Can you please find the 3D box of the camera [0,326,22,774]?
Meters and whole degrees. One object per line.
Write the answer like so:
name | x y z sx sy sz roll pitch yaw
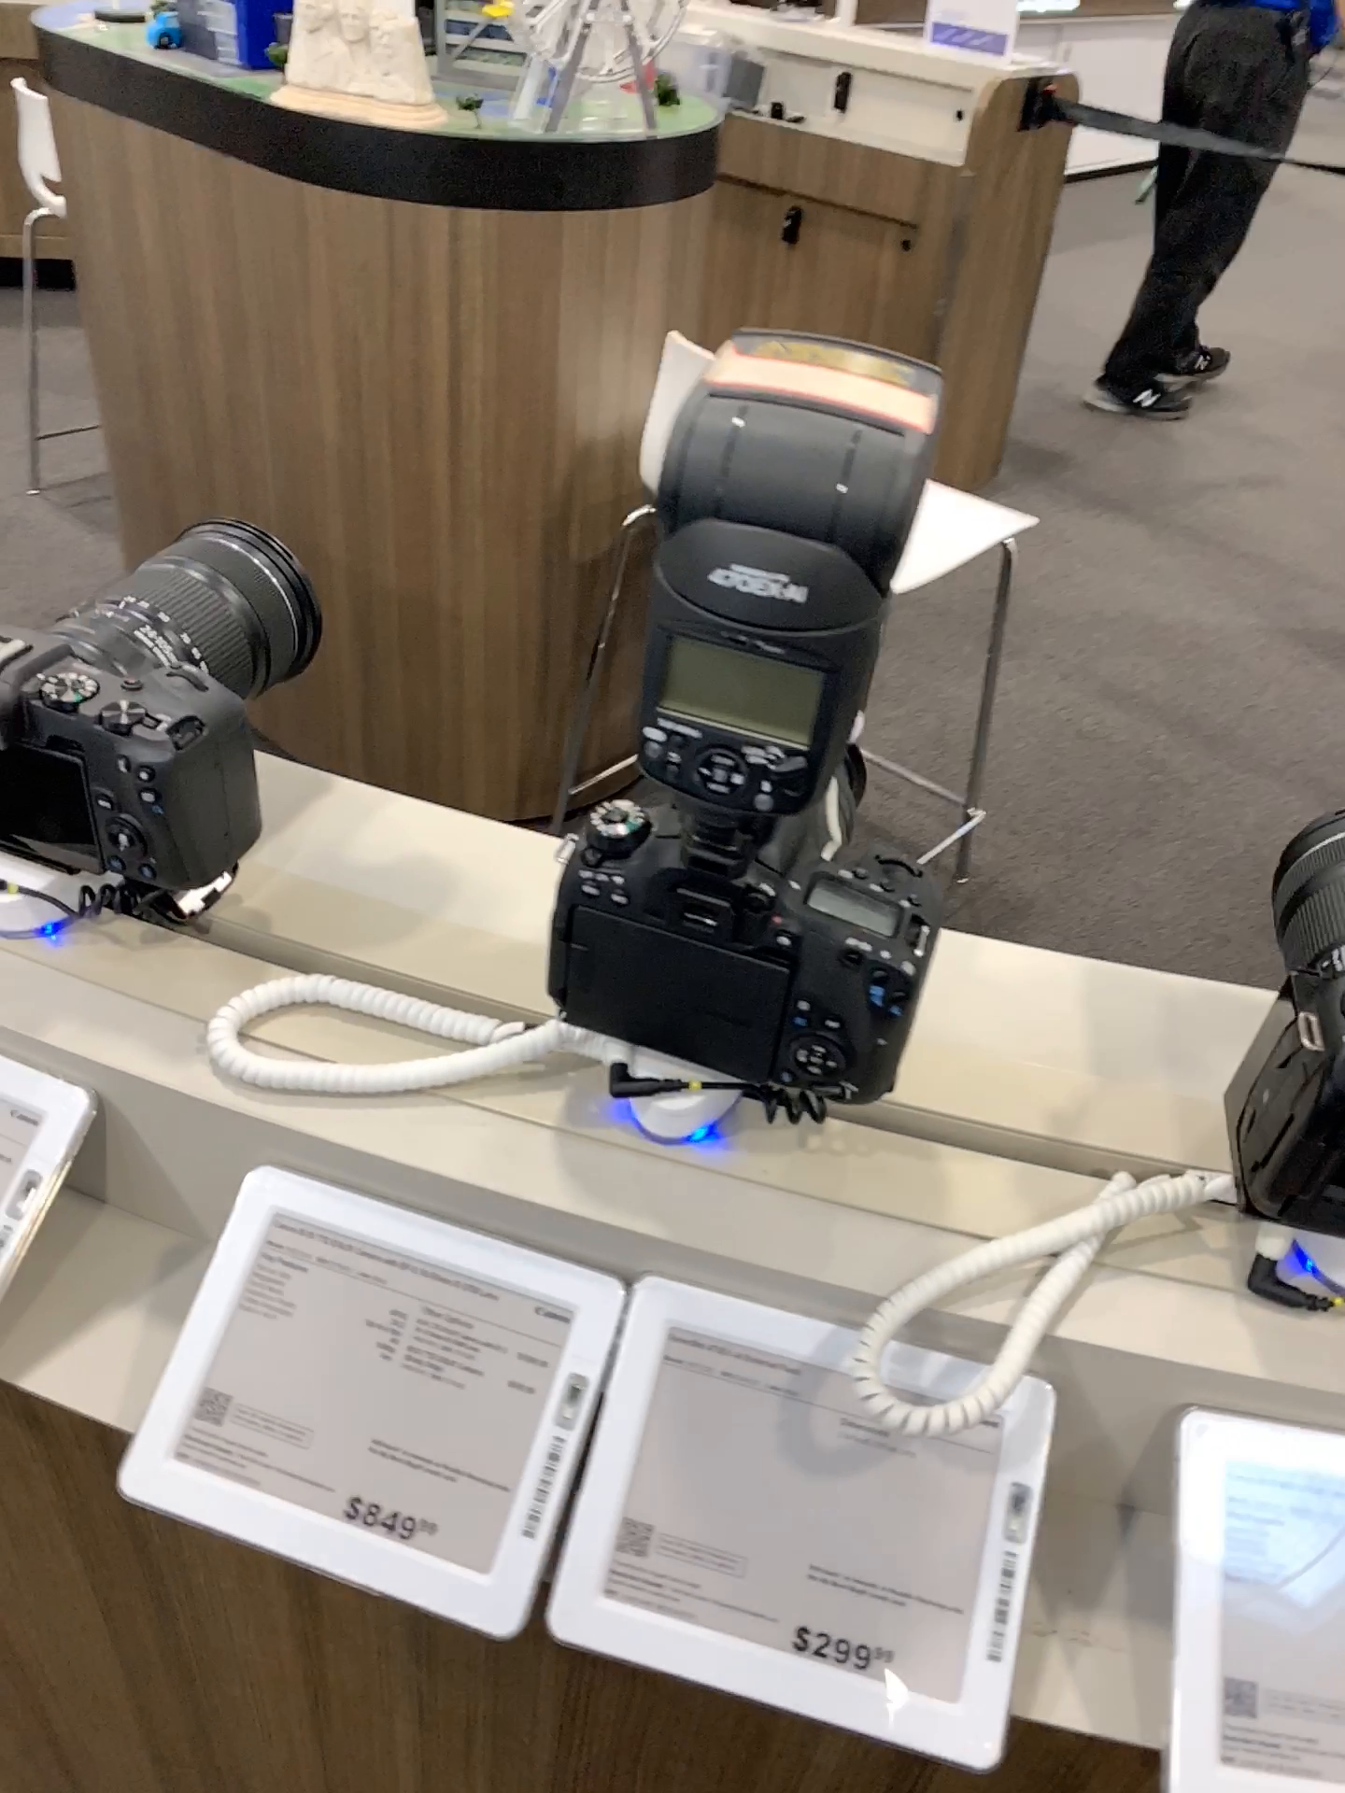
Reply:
camera | -0.442 -0.171 0.648 0.150 0.119 0.171 23 41 20

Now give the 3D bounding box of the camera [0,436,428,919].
camera | -0.218 -0.106 0.600 0.140 0.099 0.201 16 40 12

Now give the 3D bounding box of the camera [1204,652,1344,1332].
camera | 0.272 0.019 0.460 0.140 0.099 0.191 12 39 7

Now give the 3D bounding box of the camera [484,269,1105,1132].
camera | 0.039 -0.073 0.485 0.150 0.219 0.171 16 39 12
